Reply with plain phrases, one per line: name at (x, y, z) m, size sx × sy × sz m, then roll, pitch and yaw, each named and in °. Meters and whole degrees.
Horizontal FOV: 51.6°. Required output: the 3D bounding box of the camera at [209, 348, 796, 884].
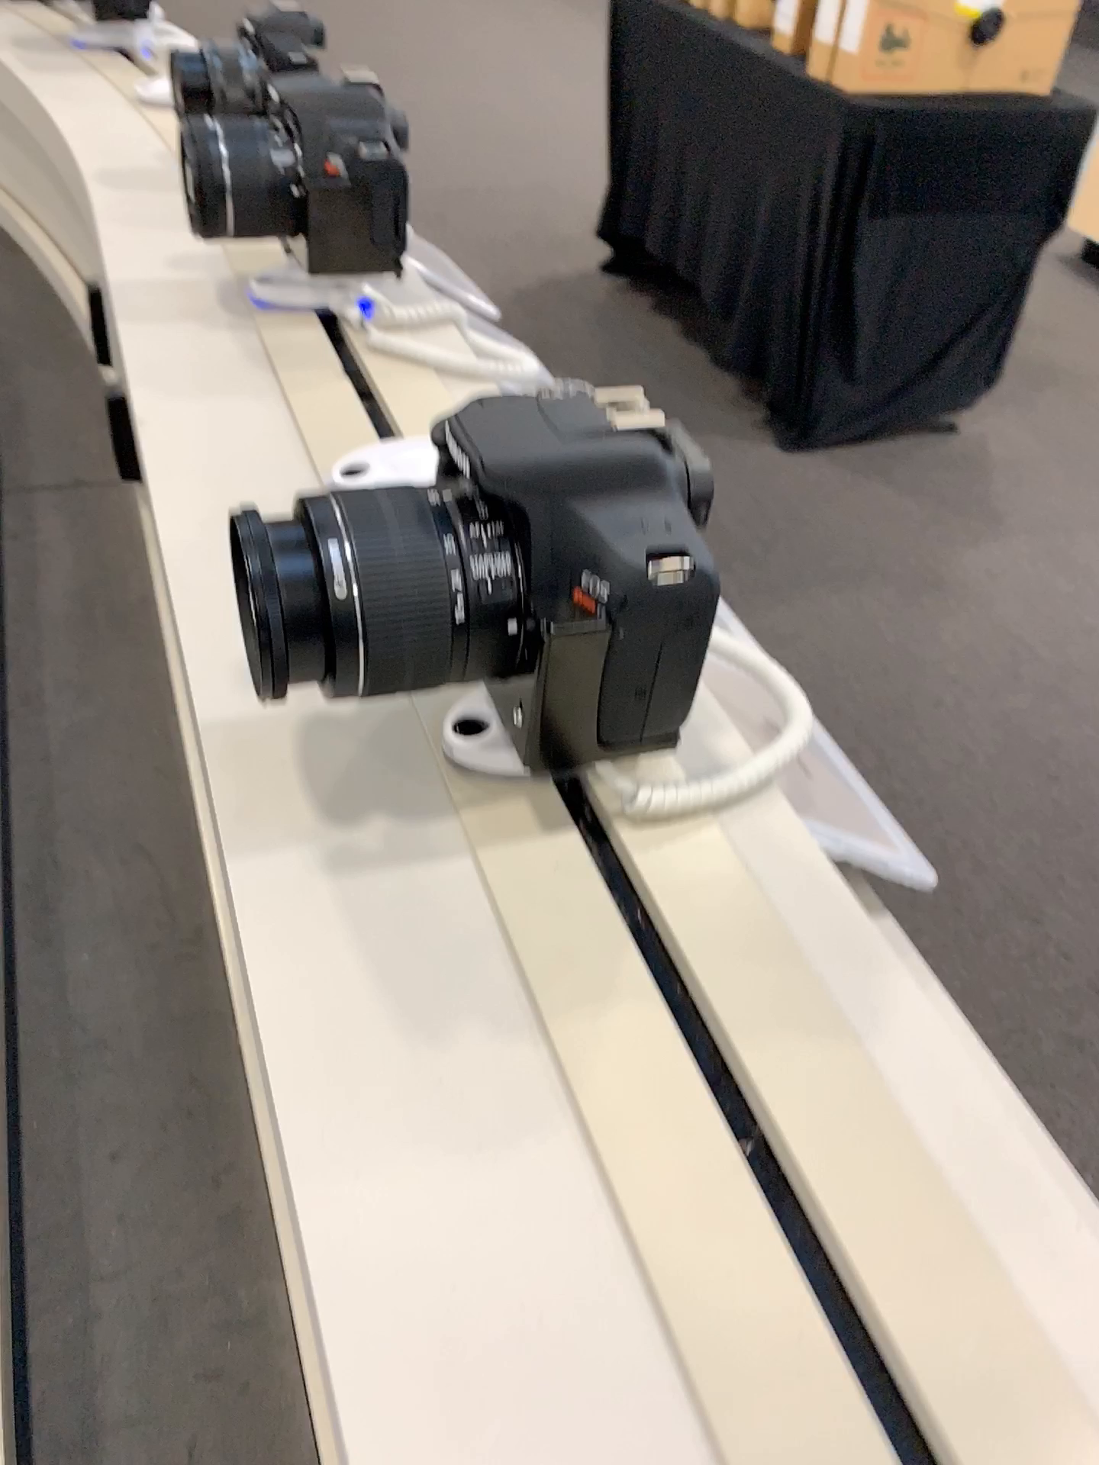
camera at (-0.025, -0.047, 0.380) m, size 0.145 × 0.101 × 0.134 m, roll -9°, pitch 45°, yaw -18°

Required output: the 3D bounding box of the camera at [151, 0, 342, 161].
camera at (-0.228, -0.499, 0.860) m, size 0.111 × 0.088 × 0.112 m, roll -13°, pitch 46°, yaw -21°

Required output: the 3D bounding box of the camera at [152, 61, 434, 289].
camera at (-0.156, -0.345, 0.695) m, size 0.135 × 0.089 × 0.122 m, roll -13°, pitch 46°, yaw -21°
